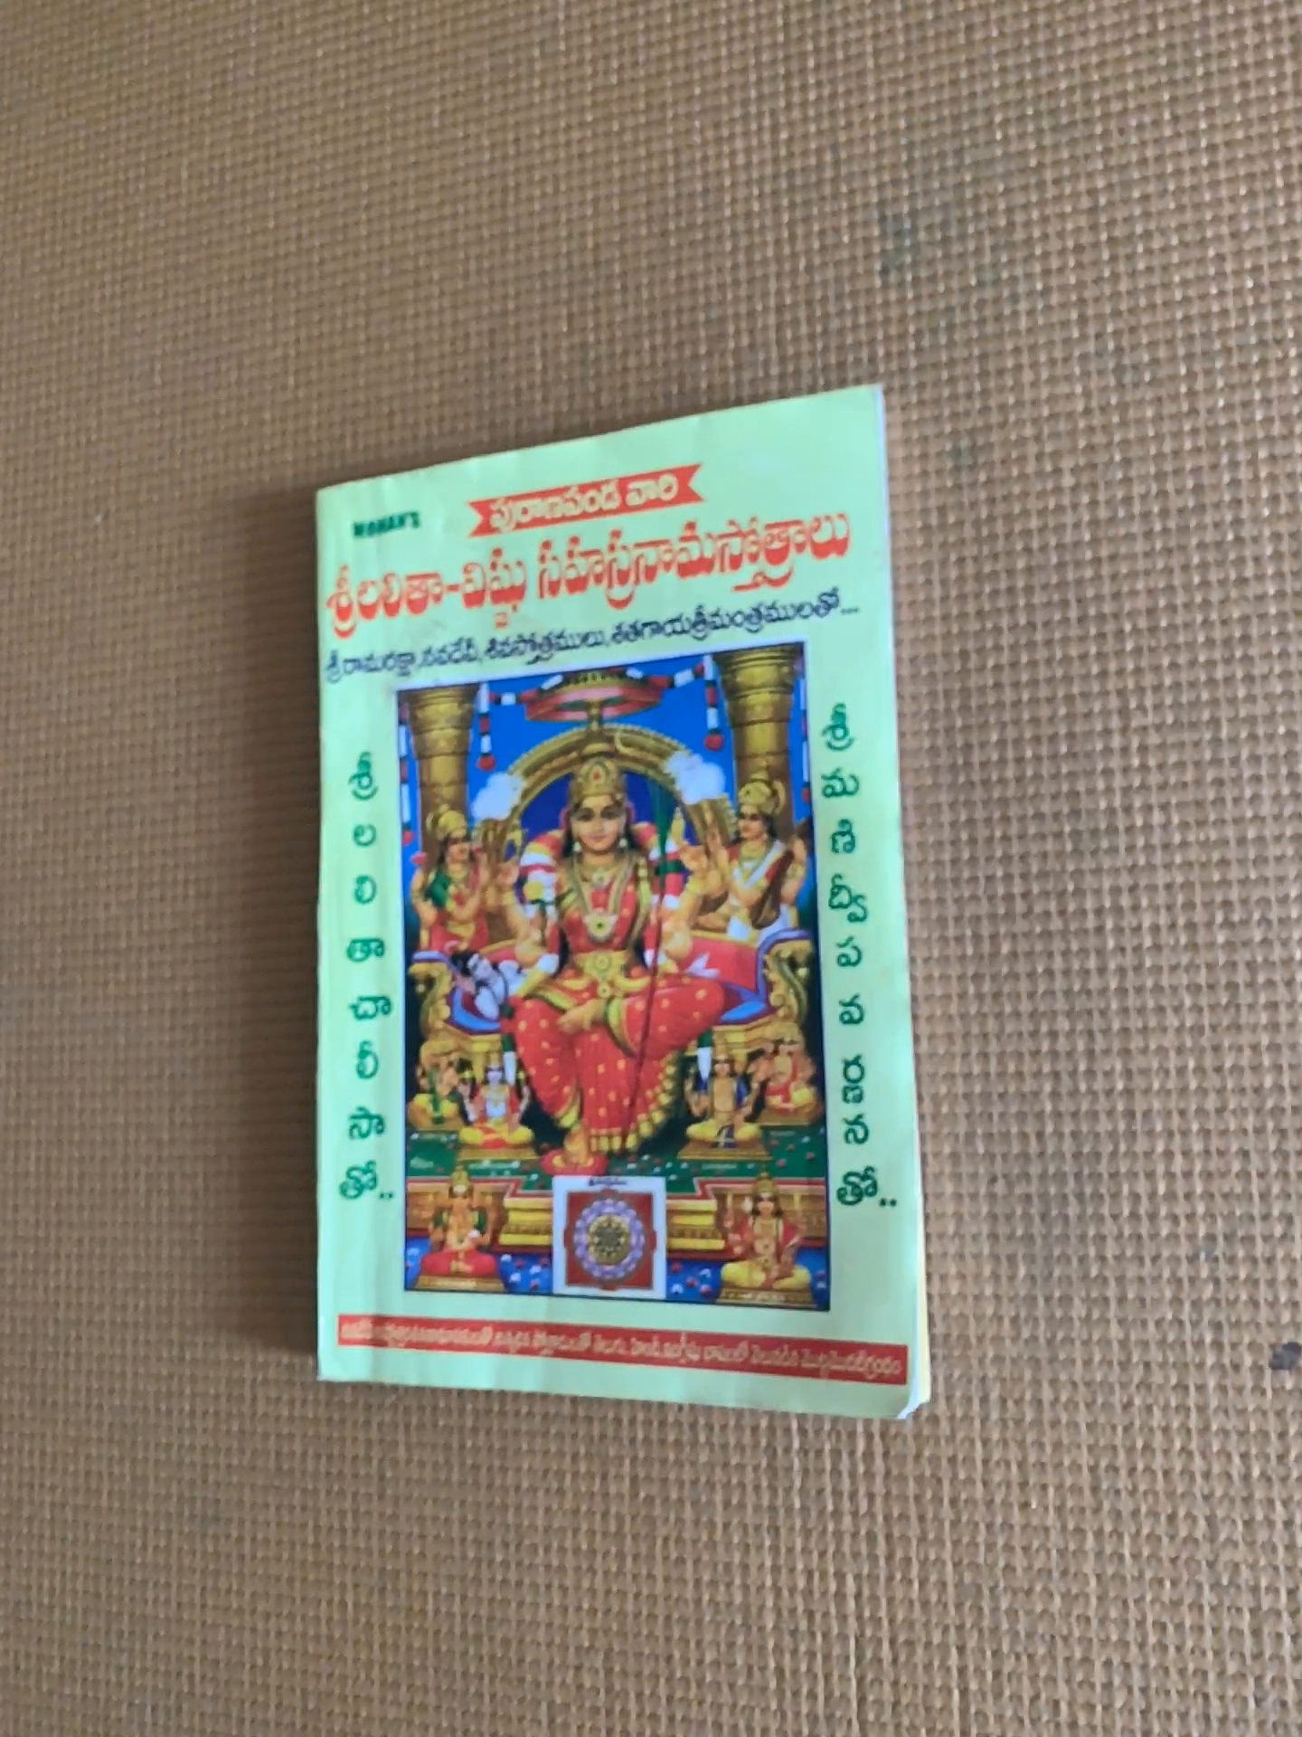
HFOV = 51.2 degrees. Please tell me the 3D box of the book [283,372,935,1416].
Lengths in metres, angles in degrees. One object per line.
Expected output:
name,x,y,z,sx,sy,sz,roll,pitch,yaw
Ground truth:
book,-0.015,0.006,0.303,0.140,0.020,0.210,-4,83,18
